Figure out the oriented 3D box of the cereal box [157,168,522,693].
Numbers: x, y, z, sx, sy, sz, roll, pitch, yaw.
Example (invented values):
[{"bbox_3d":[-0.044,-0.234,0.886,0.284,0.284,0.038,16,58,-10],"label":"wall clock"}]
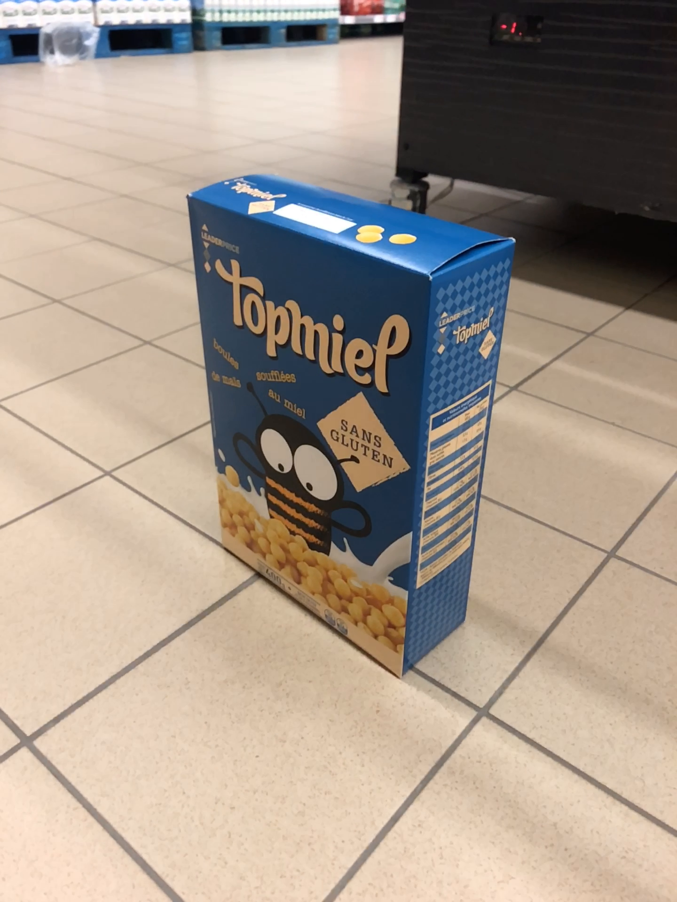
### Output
[{"bbox_3d":[-0.010,-0.017,0.484,0.200,0.278,0.080,26,39,34],"label":"cereal box"}]
